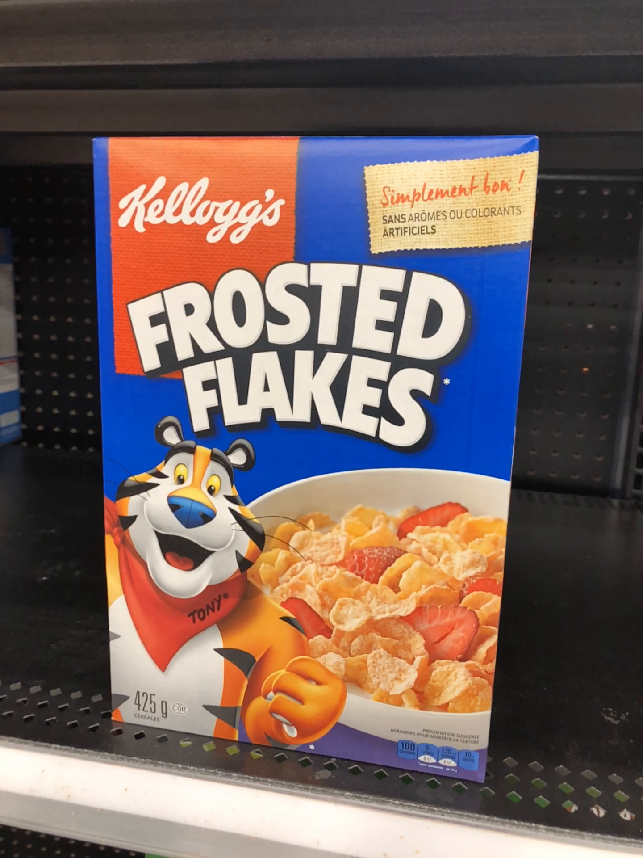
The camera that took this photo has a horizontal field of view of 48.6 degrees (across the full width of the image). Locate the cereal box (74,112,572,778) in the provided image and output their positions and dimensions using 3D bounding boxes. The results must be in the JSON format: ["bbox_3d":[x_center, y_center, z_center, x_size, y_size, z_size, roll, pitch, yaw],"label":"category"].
[{"bbox_3d":[-0.005,0.006,0.351,0.210,0.289,0.060,4,12,12],"label":"cereal box"}]
